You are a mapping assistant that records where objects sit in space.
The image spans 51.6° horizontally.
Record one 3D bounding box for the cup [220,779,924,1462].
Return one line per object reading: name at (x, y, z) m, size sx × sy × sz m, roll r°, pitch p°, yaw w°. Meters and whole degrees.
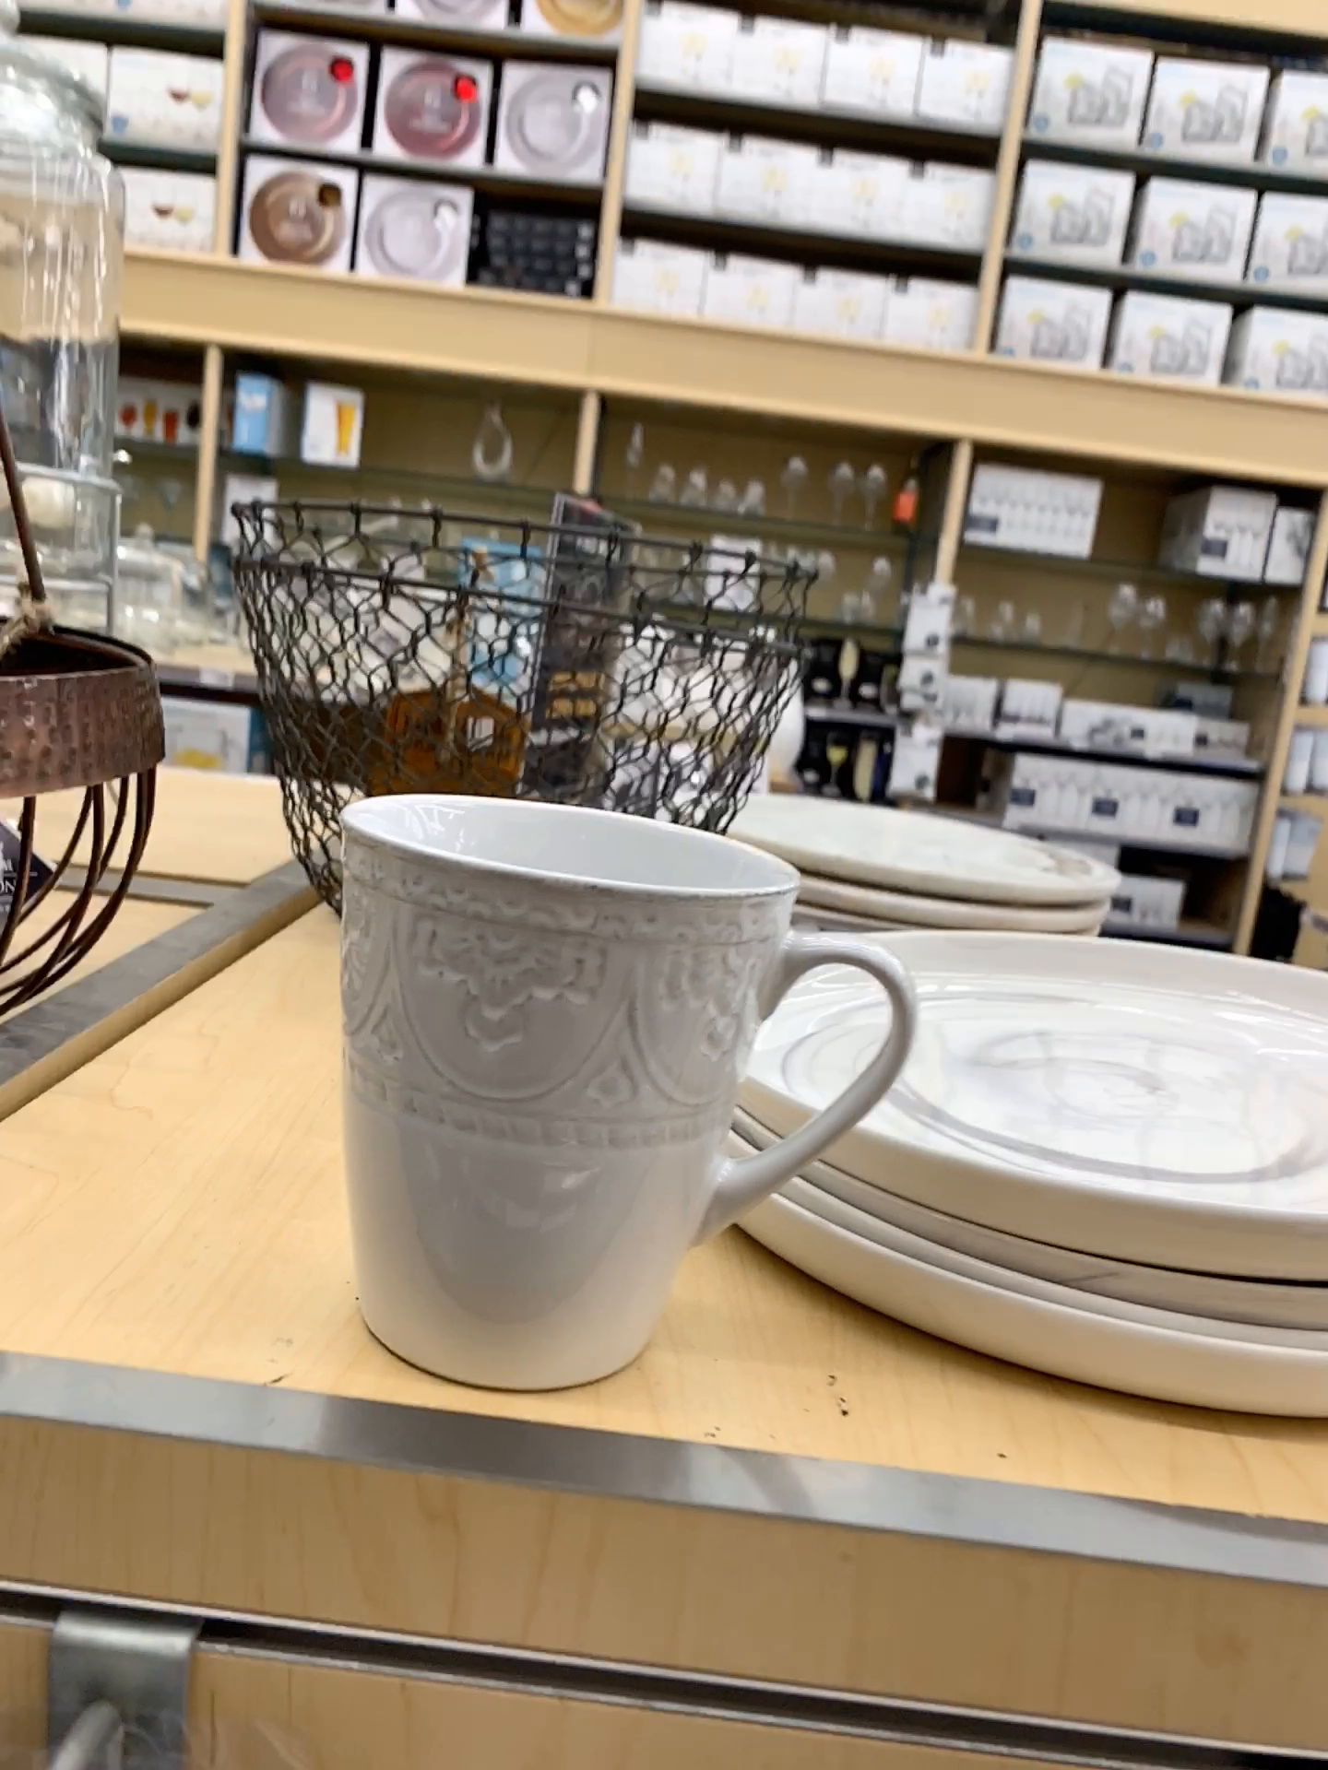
cup at (-0.017, 0.043, 0.310) m, size 0.124 × 0.107 × 0.099 m, roll 7°, pitch 11°, yaw 3°
